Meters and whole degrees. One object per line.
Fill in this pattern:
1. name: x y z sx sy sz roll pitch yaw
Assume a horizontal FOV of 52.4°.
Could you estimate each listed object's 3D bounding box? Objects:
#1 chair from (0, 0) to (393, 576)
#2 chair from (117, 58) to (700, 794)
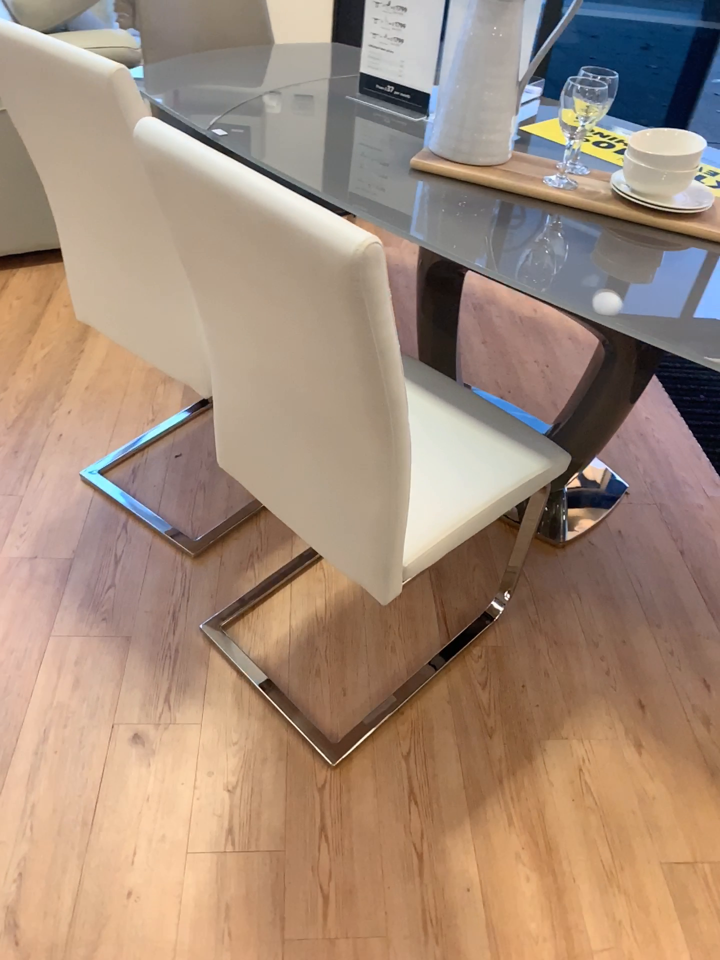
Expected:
1. chair: -0.320 -0.377 1.451 0.433 0.933 0.528 31 47 24
2. chair: 0.033 -0.059 1.138 0.423 0.923 0.538 35 49 28
